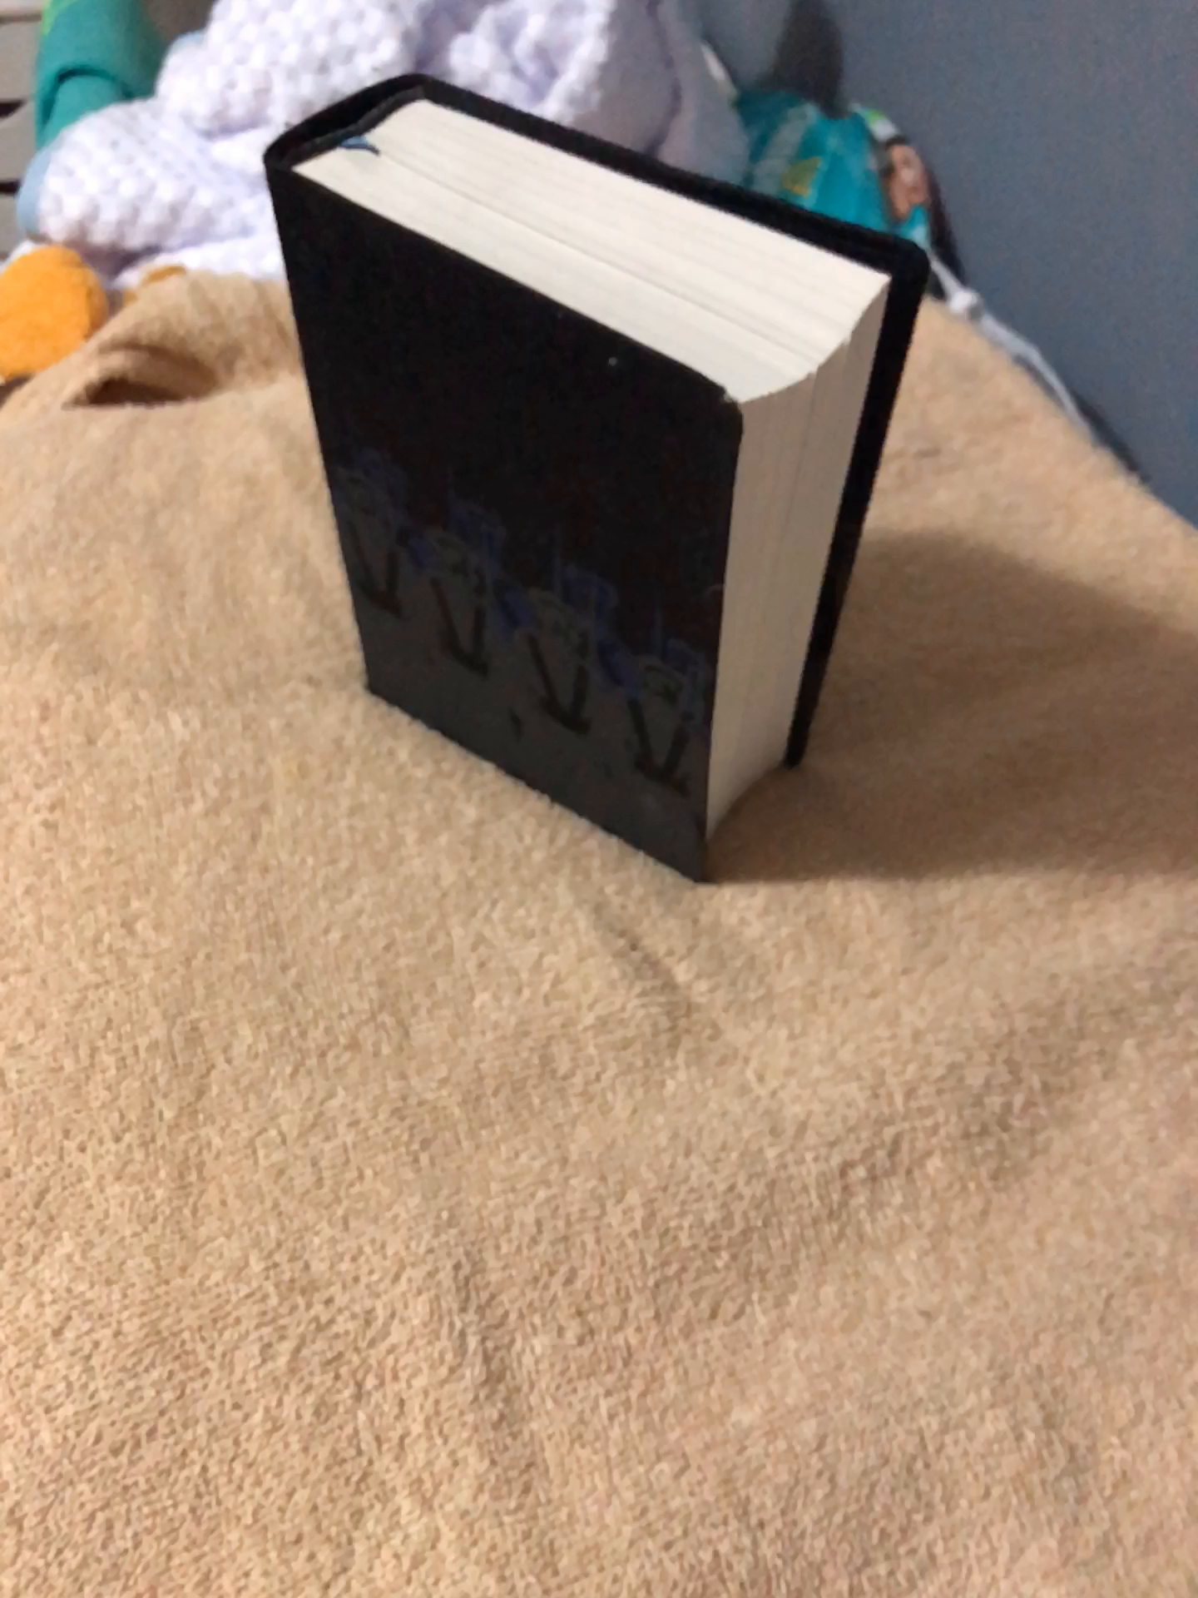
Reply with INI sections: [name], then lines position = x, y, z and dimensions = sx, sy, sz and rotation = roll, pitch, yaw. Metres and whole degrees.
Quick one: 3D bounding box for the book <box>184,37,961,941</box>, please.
[book]
position = -0.009, -0.069, 0.343
dimensions = 0.150, 0.179, 0.060
rotation = 29, 58, 20
